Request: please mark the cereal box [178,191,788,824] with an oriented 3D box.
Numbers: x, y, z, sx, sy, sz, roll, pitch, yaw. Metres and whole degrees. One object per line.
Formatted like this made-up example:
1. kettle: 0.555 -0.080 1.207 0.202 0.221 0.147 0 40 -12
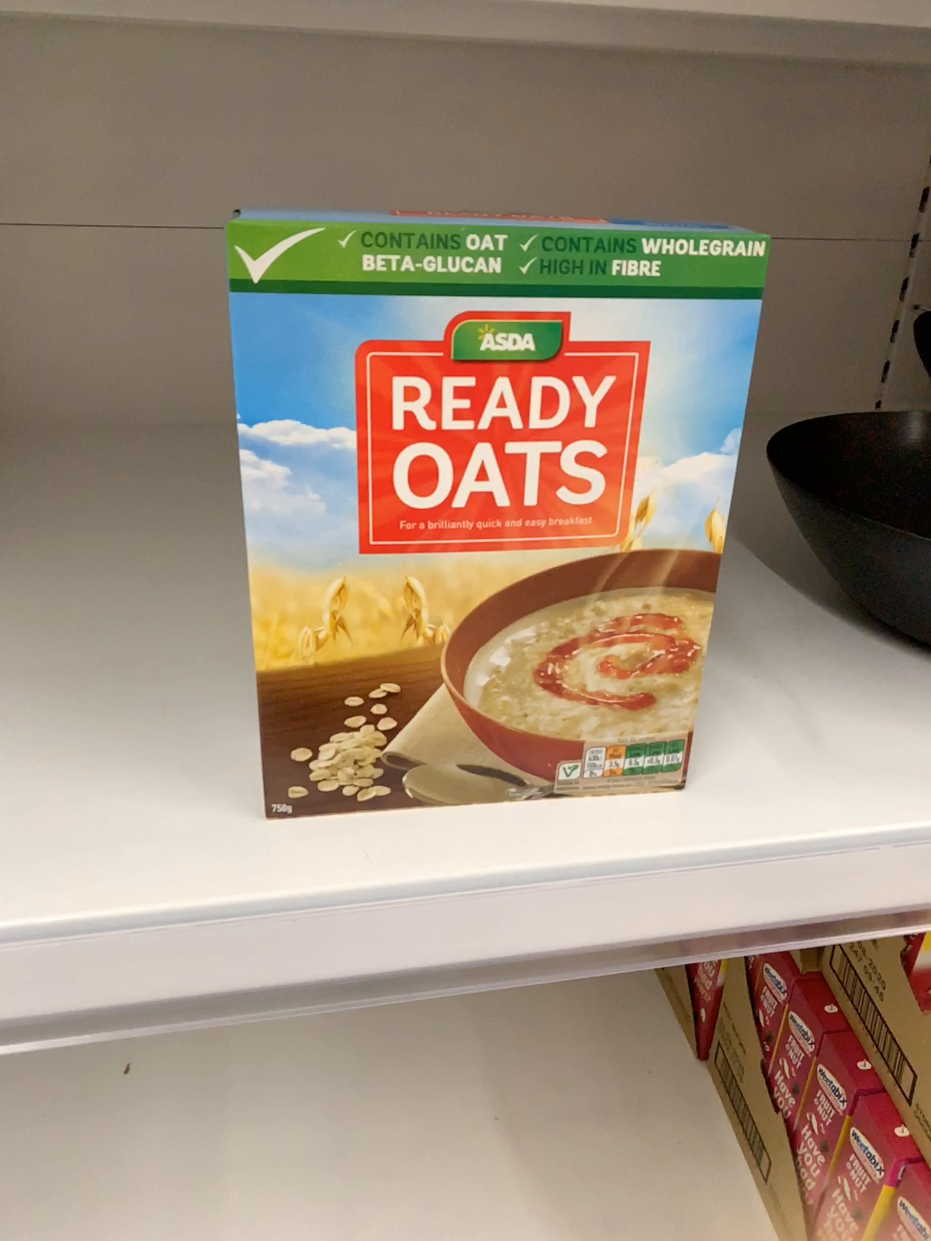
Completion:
1. cereal box: 0.001 -0.047 0.430 0.220 0.258 0.081 -3 26 -10
